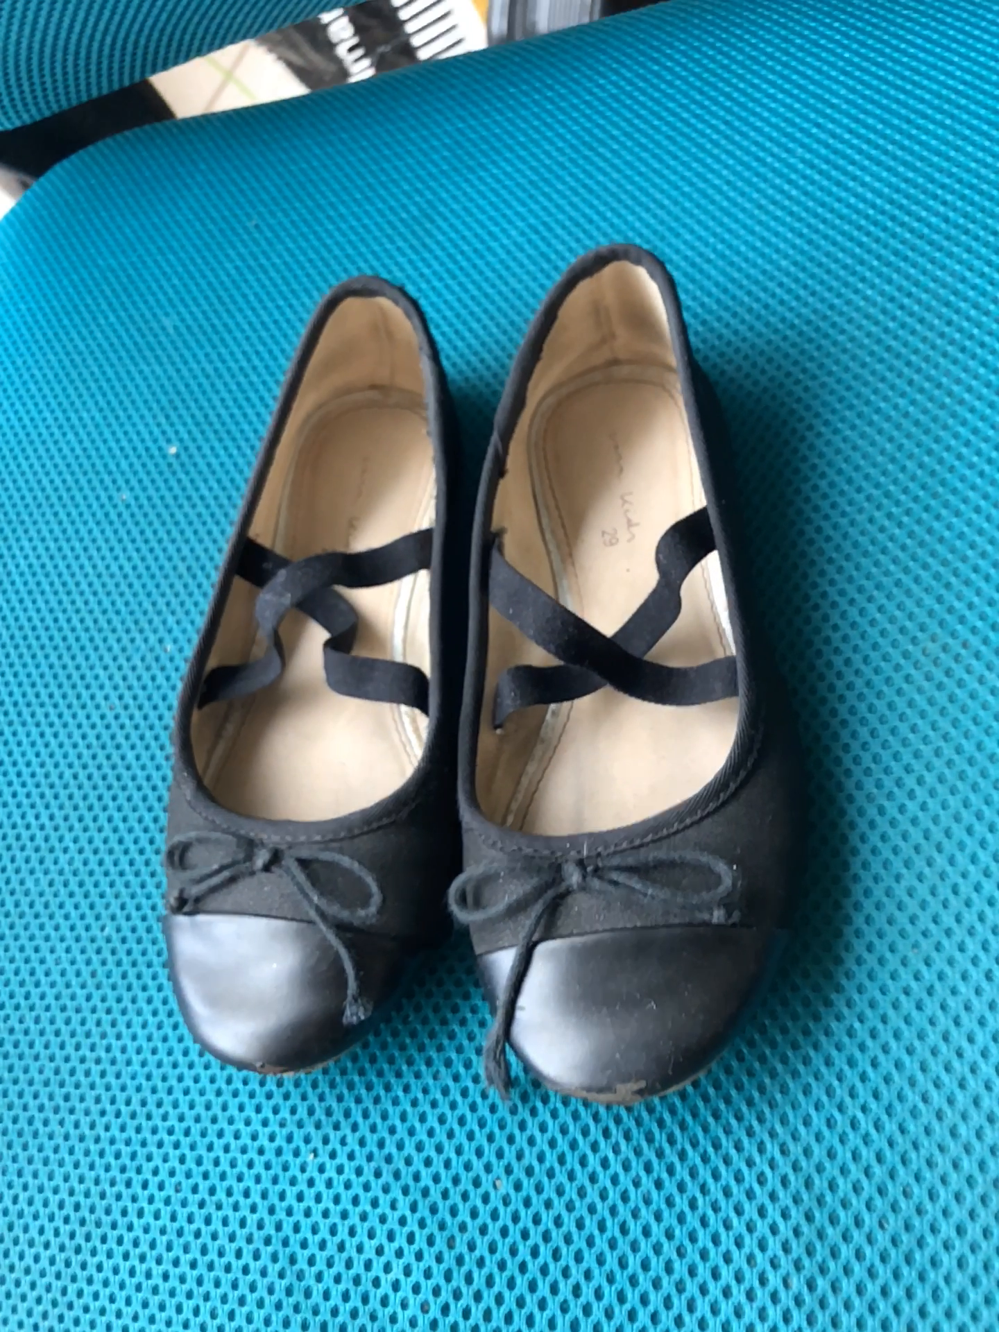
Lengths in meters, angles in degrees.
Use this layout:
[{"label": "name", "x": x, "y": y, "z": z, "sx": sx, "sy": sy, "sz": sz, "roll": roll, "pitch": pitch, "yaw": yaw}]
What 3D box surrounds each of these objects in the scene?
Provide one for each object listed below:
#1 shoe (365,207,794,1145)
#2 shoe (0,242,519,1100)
[{"label": "shoe", "x": 0.021, "y": -0.002, "z": 0.241, "sx": 0.069, "sy": 0.050, "sz": 0.190, "roll": -5, "pitch": 65, "yaw": 16}, {"label": "shoe", "x": -0.047, "y": -0.003, "z": 0.269, "sx": 0.080, "sy": 0.050, "sz": 0.194, "roll": -3, "pitch": 66, "yaw": 17}]
